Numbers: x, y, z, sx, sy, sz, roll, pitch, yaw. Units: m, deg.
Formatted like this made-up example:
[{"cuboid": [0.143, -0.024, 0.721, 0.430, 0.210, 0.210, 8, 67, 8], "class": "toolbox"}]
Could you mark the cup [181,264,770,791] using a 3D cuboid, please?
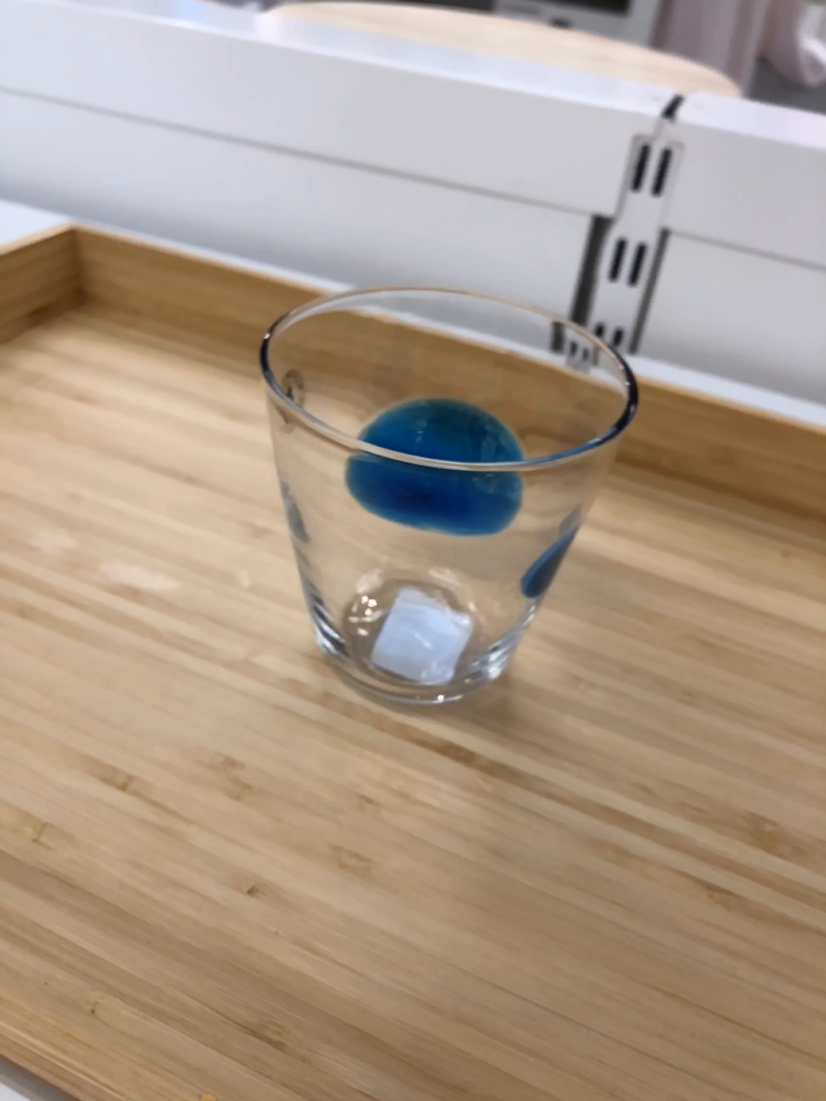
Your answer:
[{"cuboid": [0.009, -0.016, 0.242, 0.100, 0.070, 0.100, 5, 37, -4], "class": "cup"}]

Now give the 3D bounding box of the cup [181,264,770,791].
[{"cuboid": [0.009, -0.016, 0.242, 0.100, 0.070, 0.100, 5, 37, -4], "class": "cup"}]
